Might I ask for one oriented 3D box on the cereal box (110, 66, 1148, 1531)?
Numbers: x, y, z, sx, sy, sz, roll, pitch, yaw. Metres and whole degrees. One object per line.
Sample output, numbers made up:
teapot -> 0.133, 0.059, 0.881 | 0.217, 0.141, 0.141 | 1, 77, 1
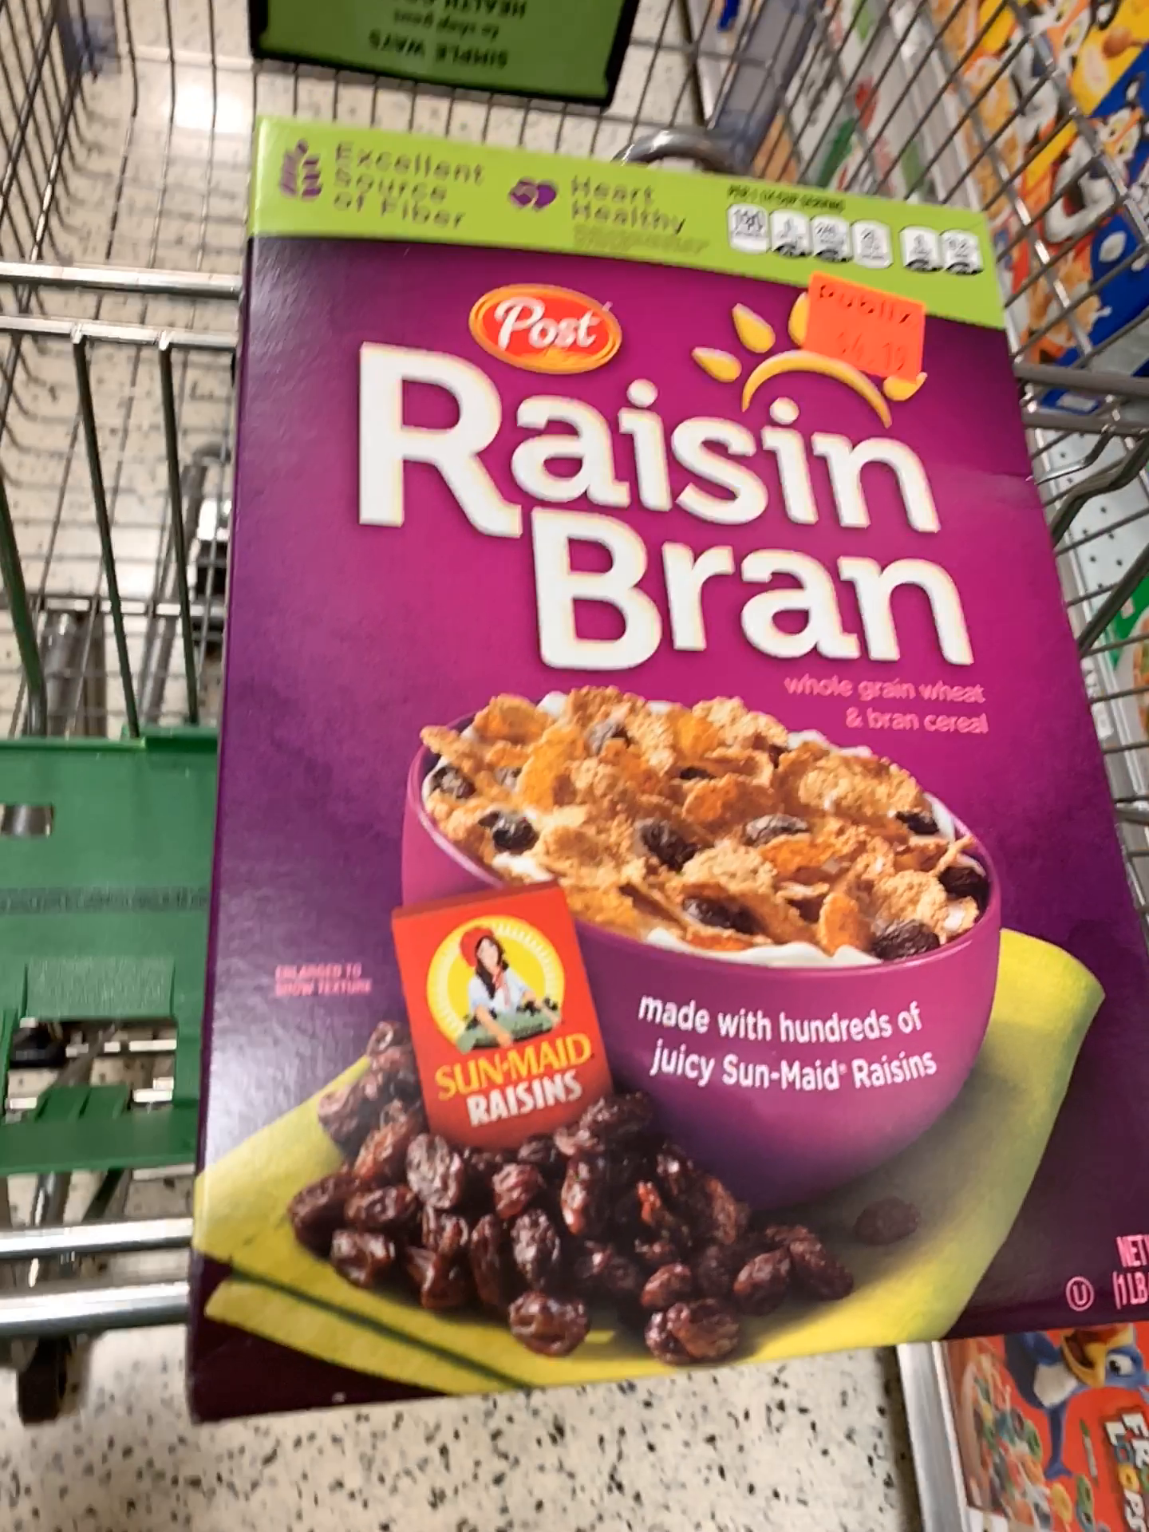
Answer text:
cereal box -> 0.023, -0.013, 0.266 | 0.210, 0.060, 0.281 | 1, 68, -14
